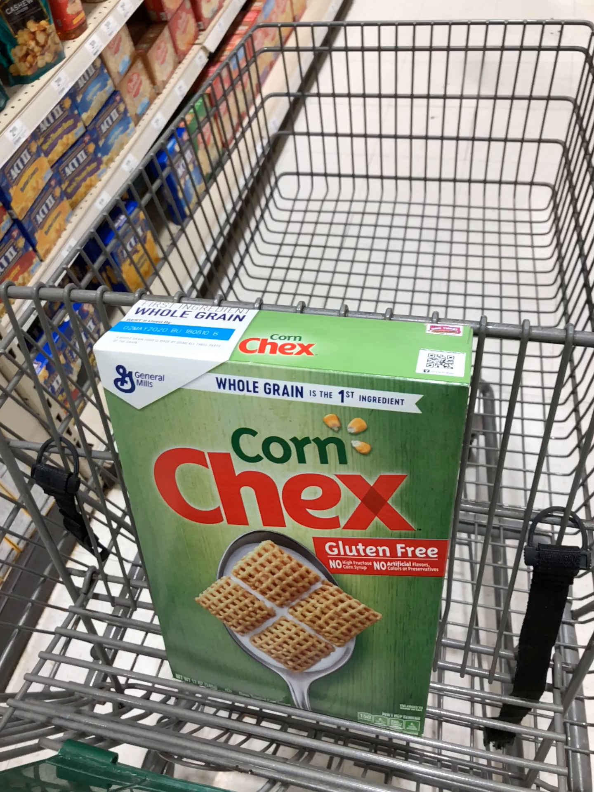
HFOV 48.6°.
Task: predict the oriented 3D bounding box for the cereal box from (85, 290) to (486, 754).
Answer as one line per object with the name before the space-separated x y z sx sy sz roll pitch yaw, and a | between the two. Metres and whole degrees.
cereal box | -0.001 0.095 0.426 0.200 0.310 0.060 7 34 14
